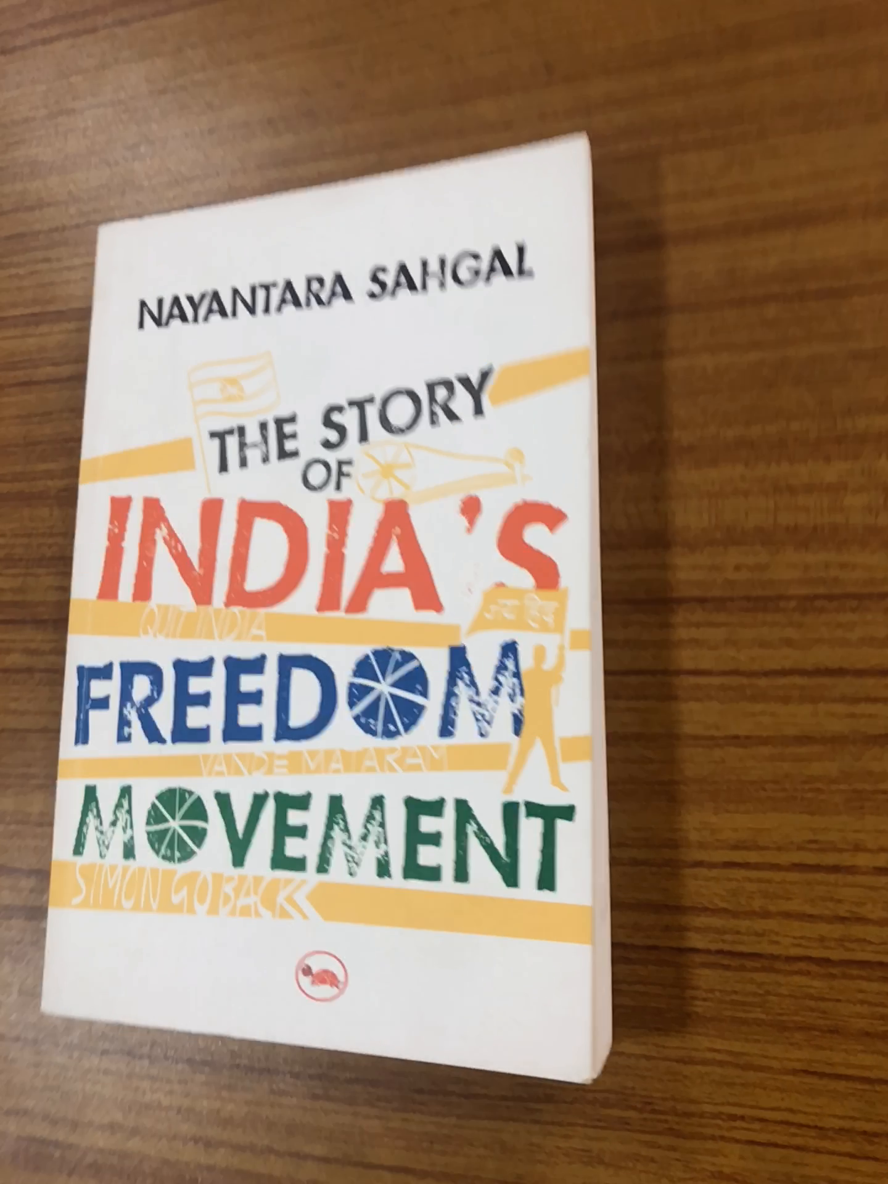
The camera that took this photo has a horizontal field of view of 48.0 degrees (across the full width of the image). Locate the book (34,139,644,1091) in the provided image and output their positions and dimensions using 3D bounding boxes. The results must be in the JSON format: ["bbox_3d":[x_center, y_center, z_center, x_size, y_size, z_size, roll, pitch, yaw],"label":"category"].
[{"bbox_3d":[-0.024,0.002,0.231,0.130,0.030,0.190,-3,80,18],"label":"book"}]
